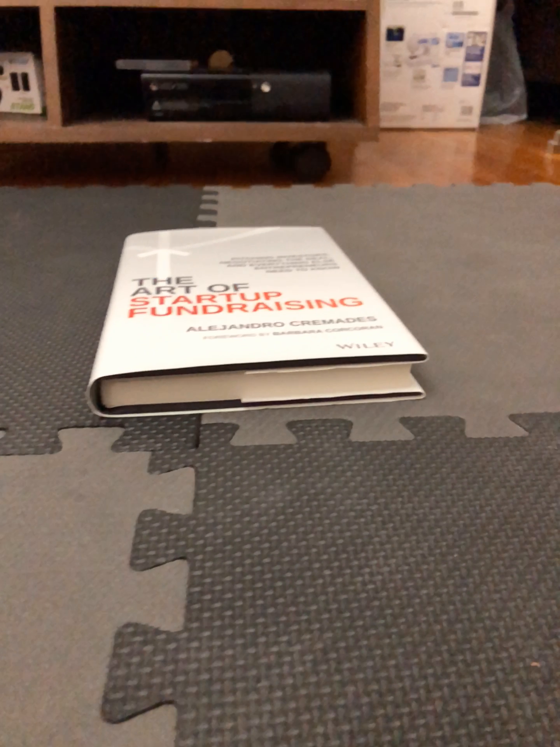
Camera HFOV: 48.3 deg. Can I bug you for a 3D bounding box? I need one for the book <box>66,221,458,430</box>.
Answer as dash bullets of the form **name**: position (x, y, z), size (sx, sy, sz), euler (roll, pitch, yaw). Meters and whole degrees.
- **book**: position (-0.021, -0.049, 0.387), size (0.170, 0.030, 0.251), euler (-3, 27, -7)
